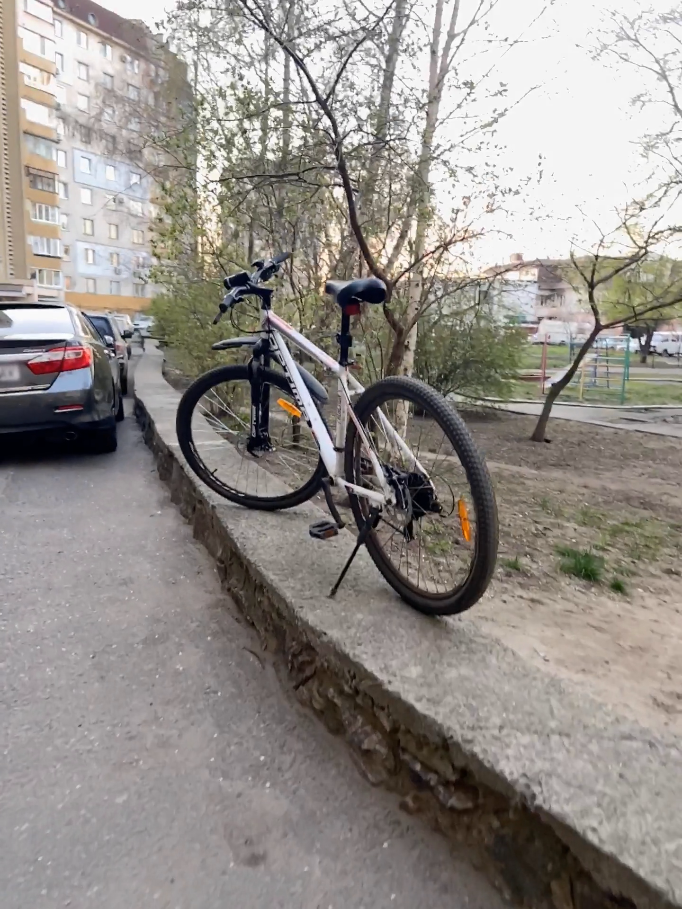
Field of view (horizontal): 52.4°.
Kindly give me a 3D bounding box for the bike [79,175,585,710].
[{"bbox_3d":[-0.227,-0.106,2.340,0.679,1.148,1.751,-6,10,-37],"label":"bike"}]
